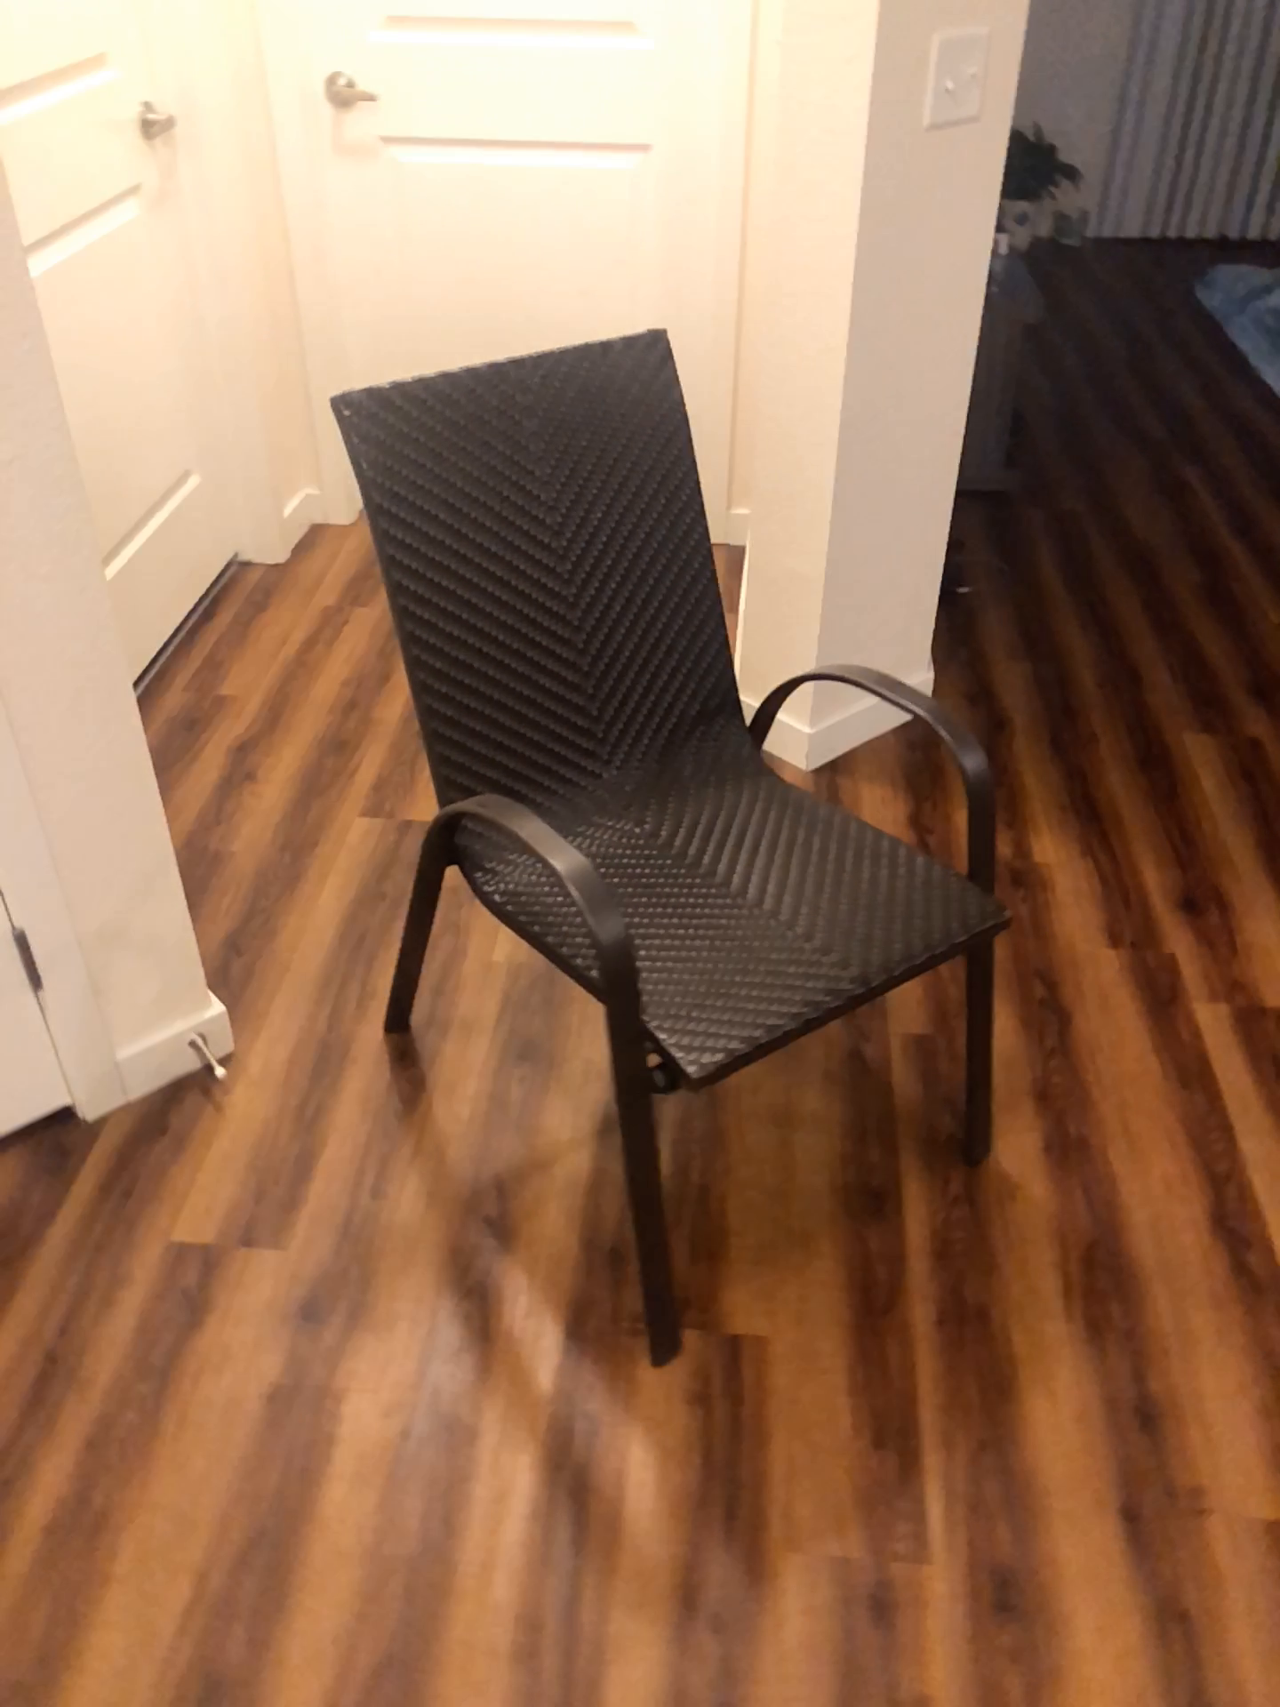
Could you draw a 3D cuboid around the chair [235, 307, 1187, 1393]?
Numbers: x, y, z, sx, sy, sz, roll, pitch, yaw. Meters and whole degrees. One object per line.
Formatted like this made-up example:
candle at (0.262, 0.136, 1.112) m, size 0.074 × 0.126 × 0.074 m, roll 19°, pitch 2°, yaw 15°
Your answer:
chair at (0.032, -0.058, 1.616) m, size 0.598 × 0.853 × 0.749 m, roll -23°, pitch 42°, yaw -28°
